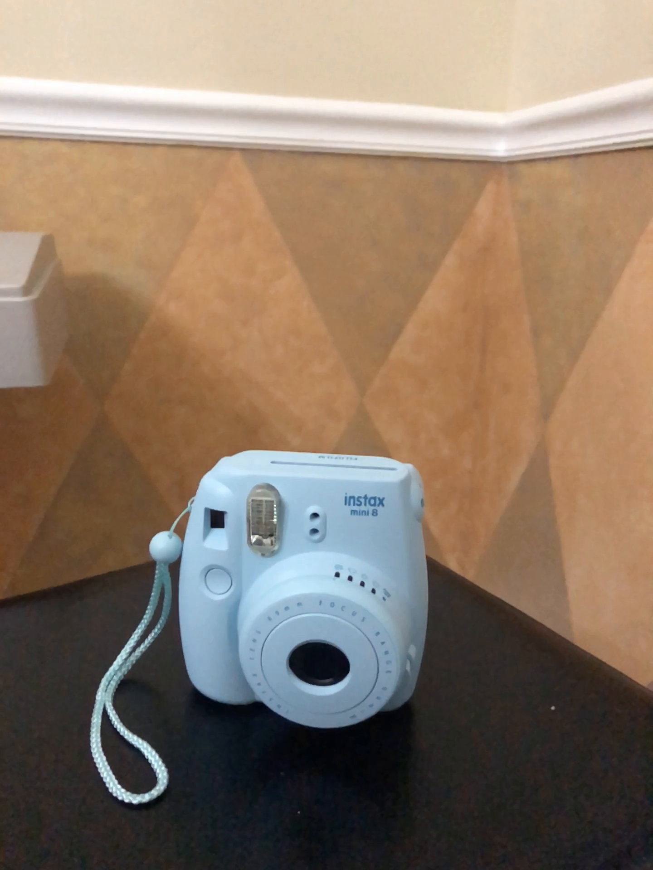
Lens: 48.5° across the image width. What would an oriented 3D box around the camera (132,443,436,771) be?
[{"bbox_3d":[-0.016,0.074,0.332,0.120,0.118,0.068,3,17,5],"label":"camera"}]
